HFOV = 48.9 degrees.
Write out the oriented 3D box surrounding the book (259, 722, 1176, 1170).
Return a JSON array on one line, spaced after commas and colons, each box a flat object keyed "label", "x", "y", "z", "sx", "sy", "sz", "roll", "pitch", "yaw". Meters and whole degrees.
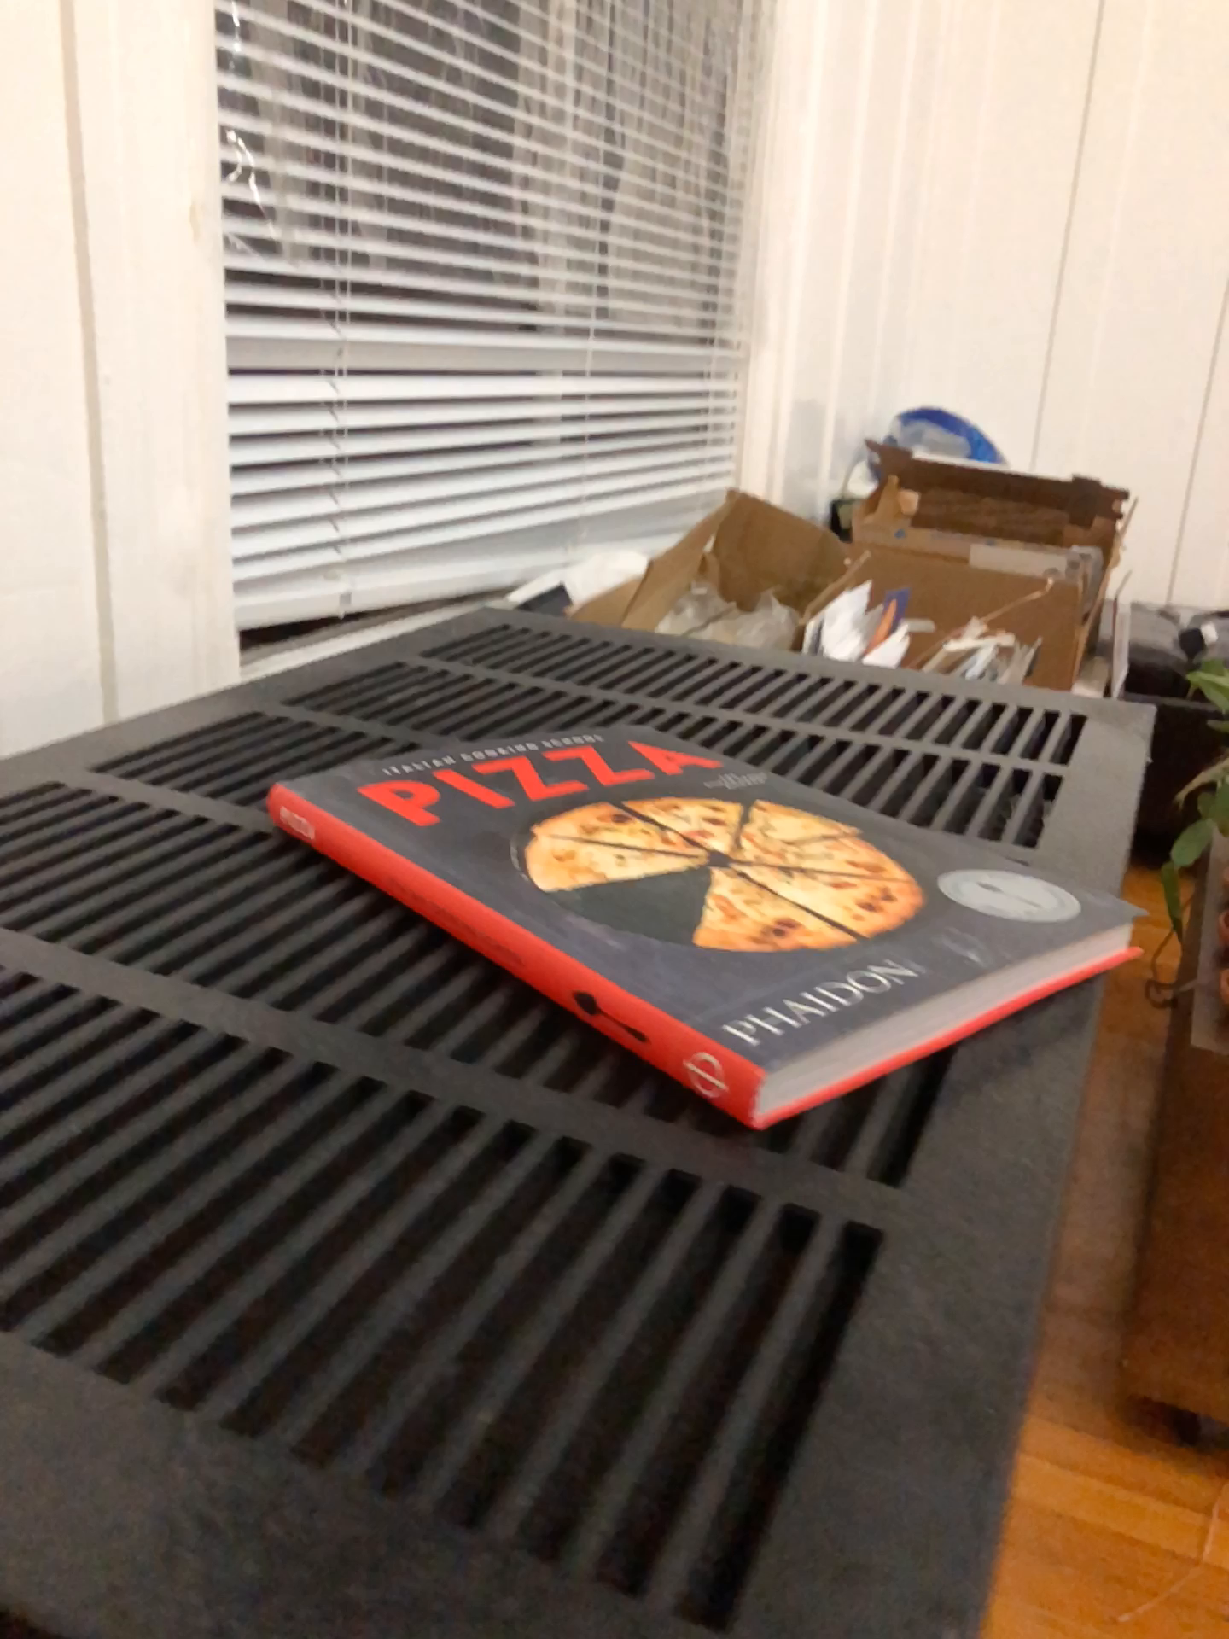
[{"label": "book", "x": 0.024, "y": 0.018, "z": 0.431, "sx": 0.180, "sy": 0.020, "sz": 0.231, "roll": -13, "pitch": 25, "yaw": -39}]
